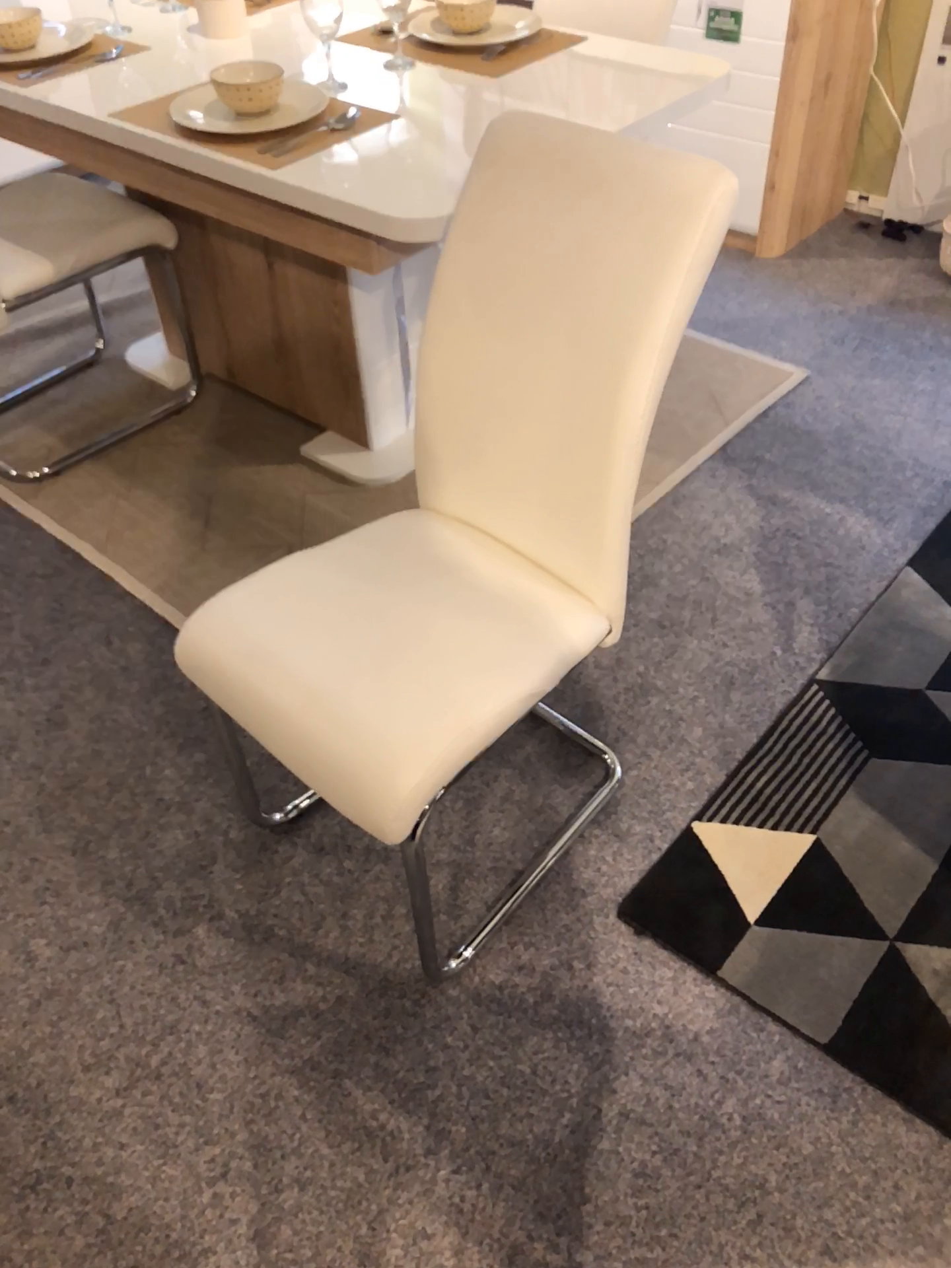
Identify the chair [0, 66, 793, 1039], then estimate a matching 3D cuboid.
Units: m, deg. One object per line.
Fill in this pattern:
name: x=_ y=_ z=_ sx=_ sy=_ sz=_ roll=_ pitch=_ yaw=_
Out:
chair: x=-0.053 y=-0.080 z=1.288 sx=0.500 sy=0.925 sz=0.553 roll=30 pitch=52 yaw=30
